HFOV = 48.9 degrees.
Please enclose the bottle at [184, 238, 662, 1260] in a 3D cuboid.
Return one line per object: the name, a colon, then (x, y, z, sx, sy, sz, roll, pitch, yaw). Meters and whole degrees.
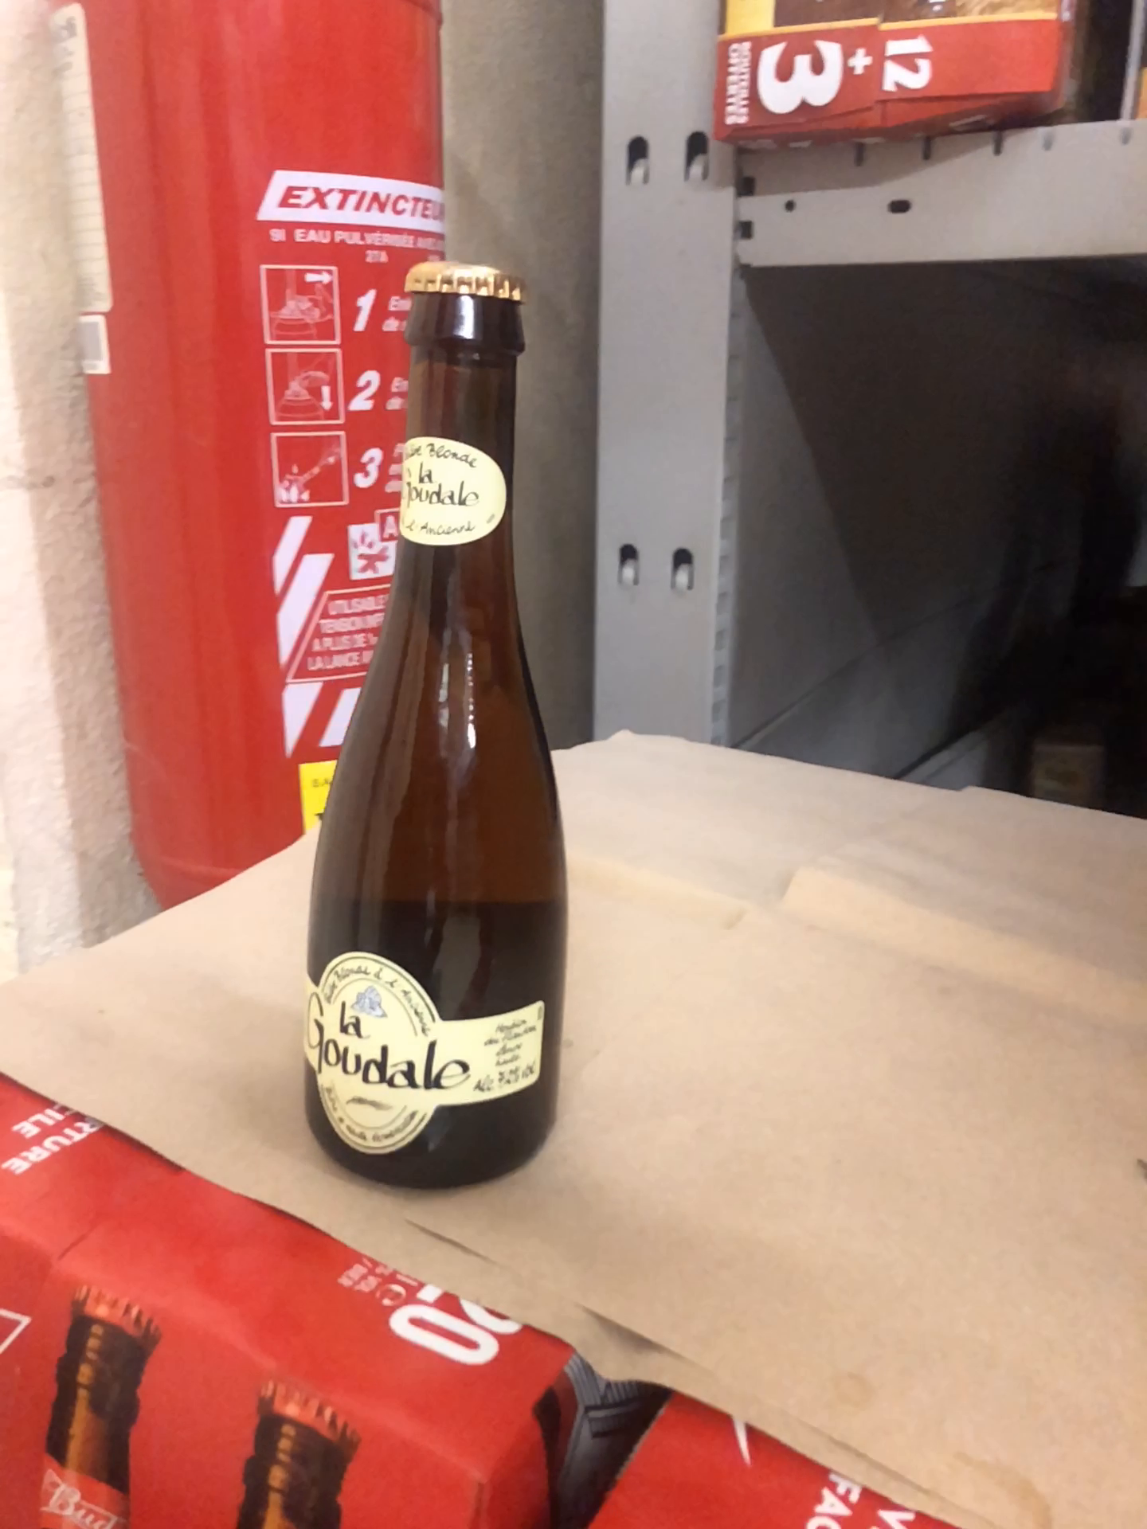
bottle: (-0.033, -0.005, 0.305, 0.080, 0.219, 0.070, 8, 17, 19)
